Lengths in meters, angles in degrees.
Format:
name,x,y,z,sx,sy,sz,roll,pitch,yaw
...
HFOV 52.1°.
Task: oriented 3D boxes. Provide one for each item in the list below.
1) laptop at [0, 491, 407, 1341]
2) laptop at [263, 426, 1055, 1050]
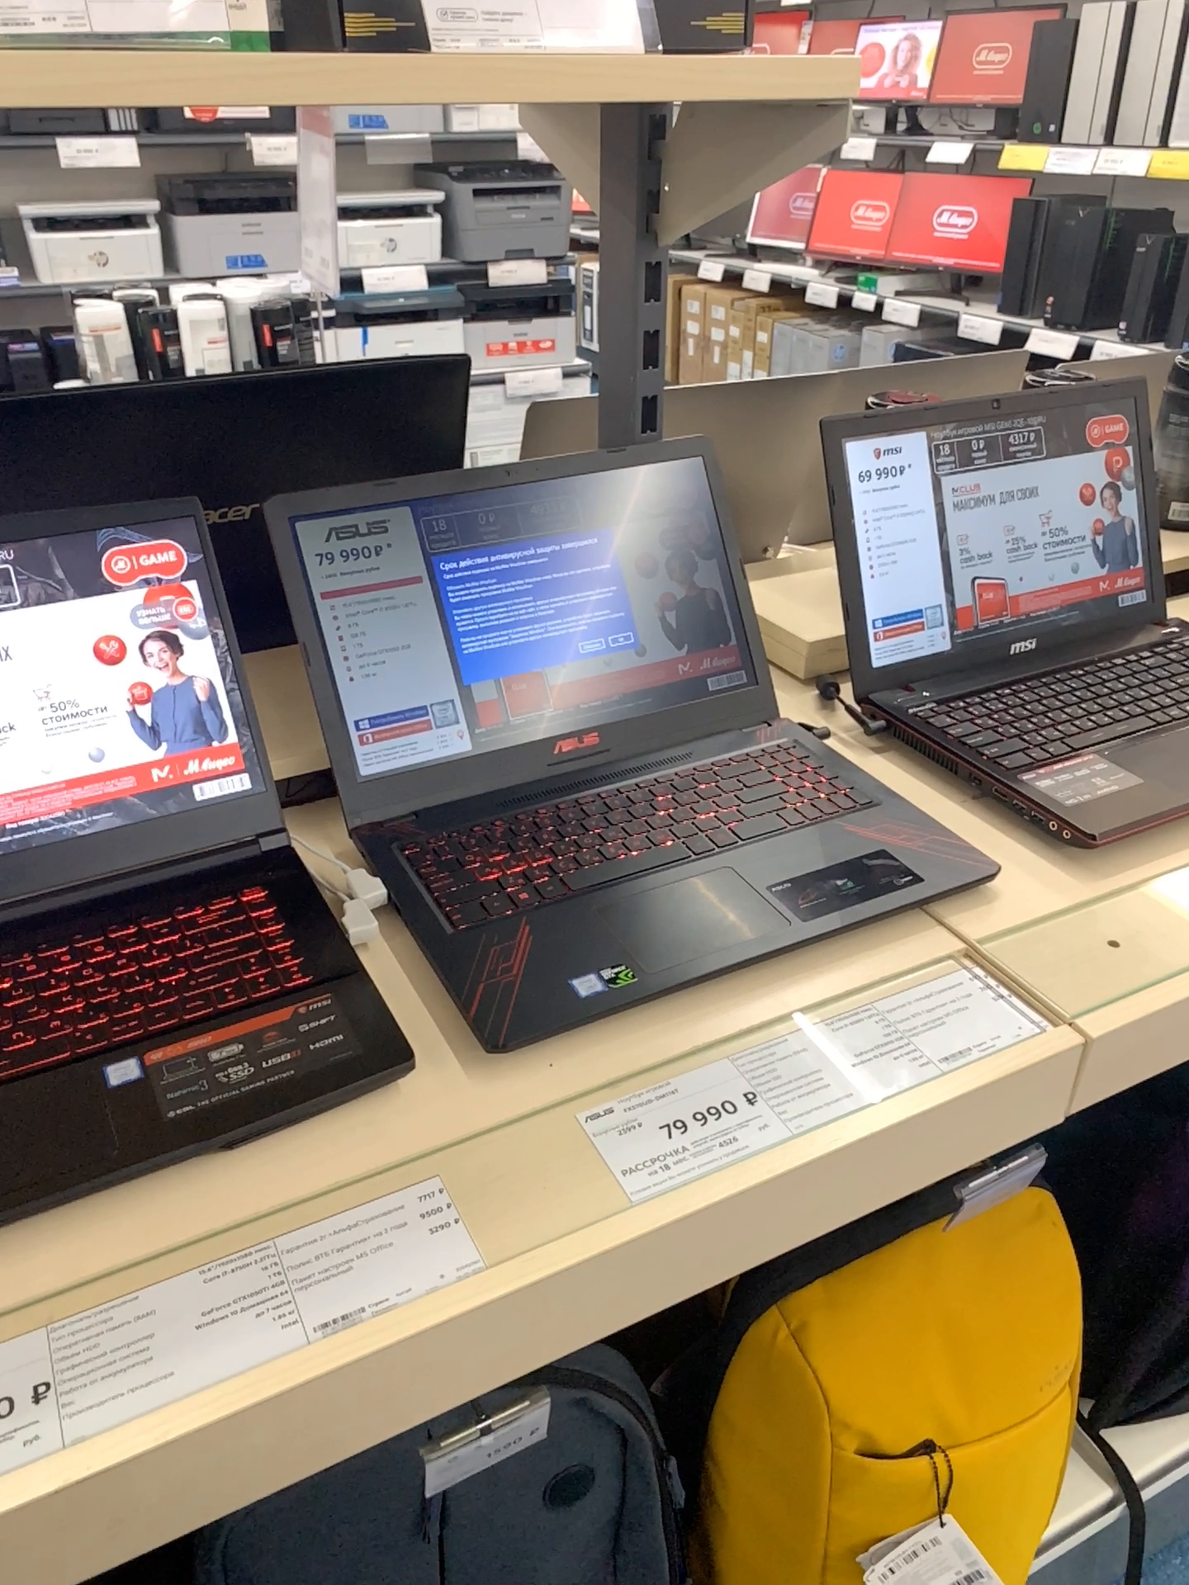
name,x,y,z,sx,sy,sz,roll,pitch,yaw
laptop,-0.327,0.011,0.657,0.339,0.209,0.354,-14,33,-25
laptop,0.017,-0.081,0.828,0.365,0.199,0.384,-15,34,-23
